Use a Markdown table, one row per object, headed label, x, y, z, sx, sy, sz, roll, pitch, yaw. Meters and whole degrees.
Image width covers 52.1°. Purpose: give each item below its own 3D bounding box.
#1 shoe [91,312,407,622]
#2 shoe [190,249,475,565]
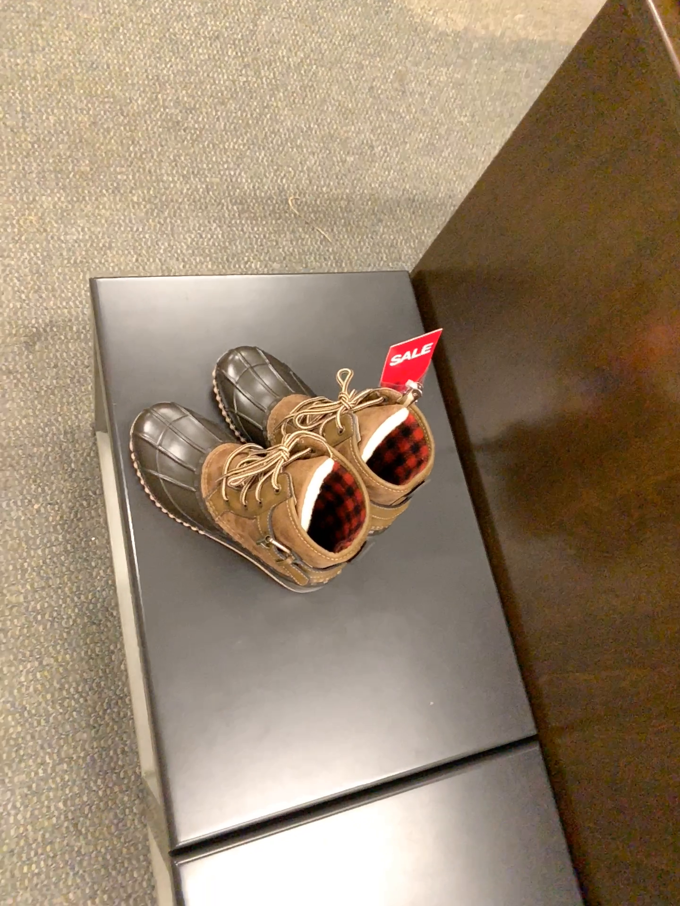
| label | x | y | z | sx | sy | sz | roll | pitch | yaw |
| --- | --- | --- | --- | --- | --- | --- | --- | --- | --- |
| shoe | -0.088 | 0.023 | 0.607 | 0.240 | 0.150 | 0.100 | 41 | 64 | -2 |
| shoe | -0.018 | -0.034 | 0.646 | 0.100 | 0.150 | 0.240 | -36 | 86 | -26 |
